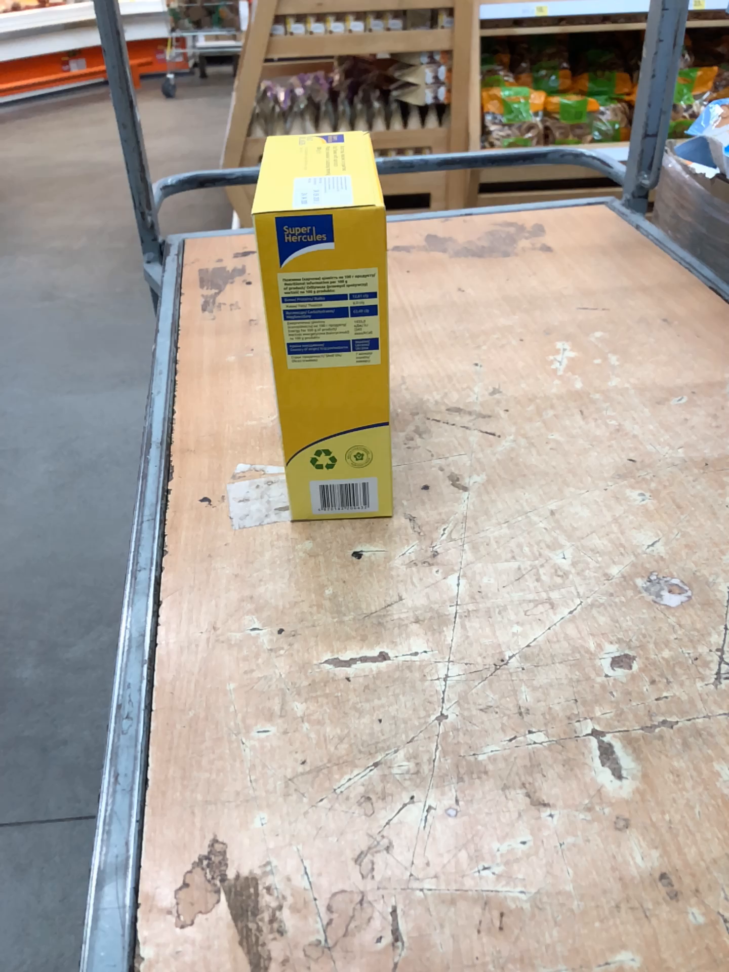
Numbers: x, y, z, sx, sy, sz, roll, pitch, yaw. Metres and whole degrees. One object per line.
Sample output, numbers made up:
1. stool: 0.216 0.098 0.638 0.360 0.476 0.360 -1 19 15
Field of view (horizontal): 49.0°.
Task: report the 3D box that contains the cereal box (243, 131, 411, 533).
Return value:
1. cereal box: -0.016 -0.097 0.499 0.080 0.199 0.151 -2 35 0
